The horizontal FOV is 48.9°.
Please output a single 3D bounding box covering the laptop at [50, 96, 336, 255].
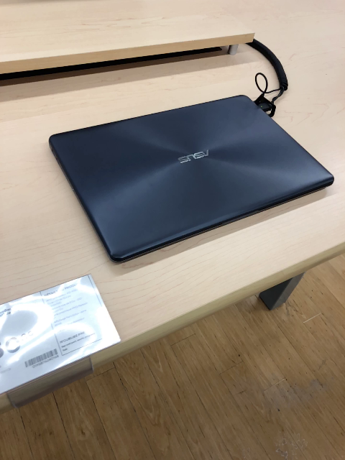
[{"bbox_3d":[0.033,-0.105,0.549,0.346,0.002,0.229,-20,55,-23],"label":"laptop"}]
